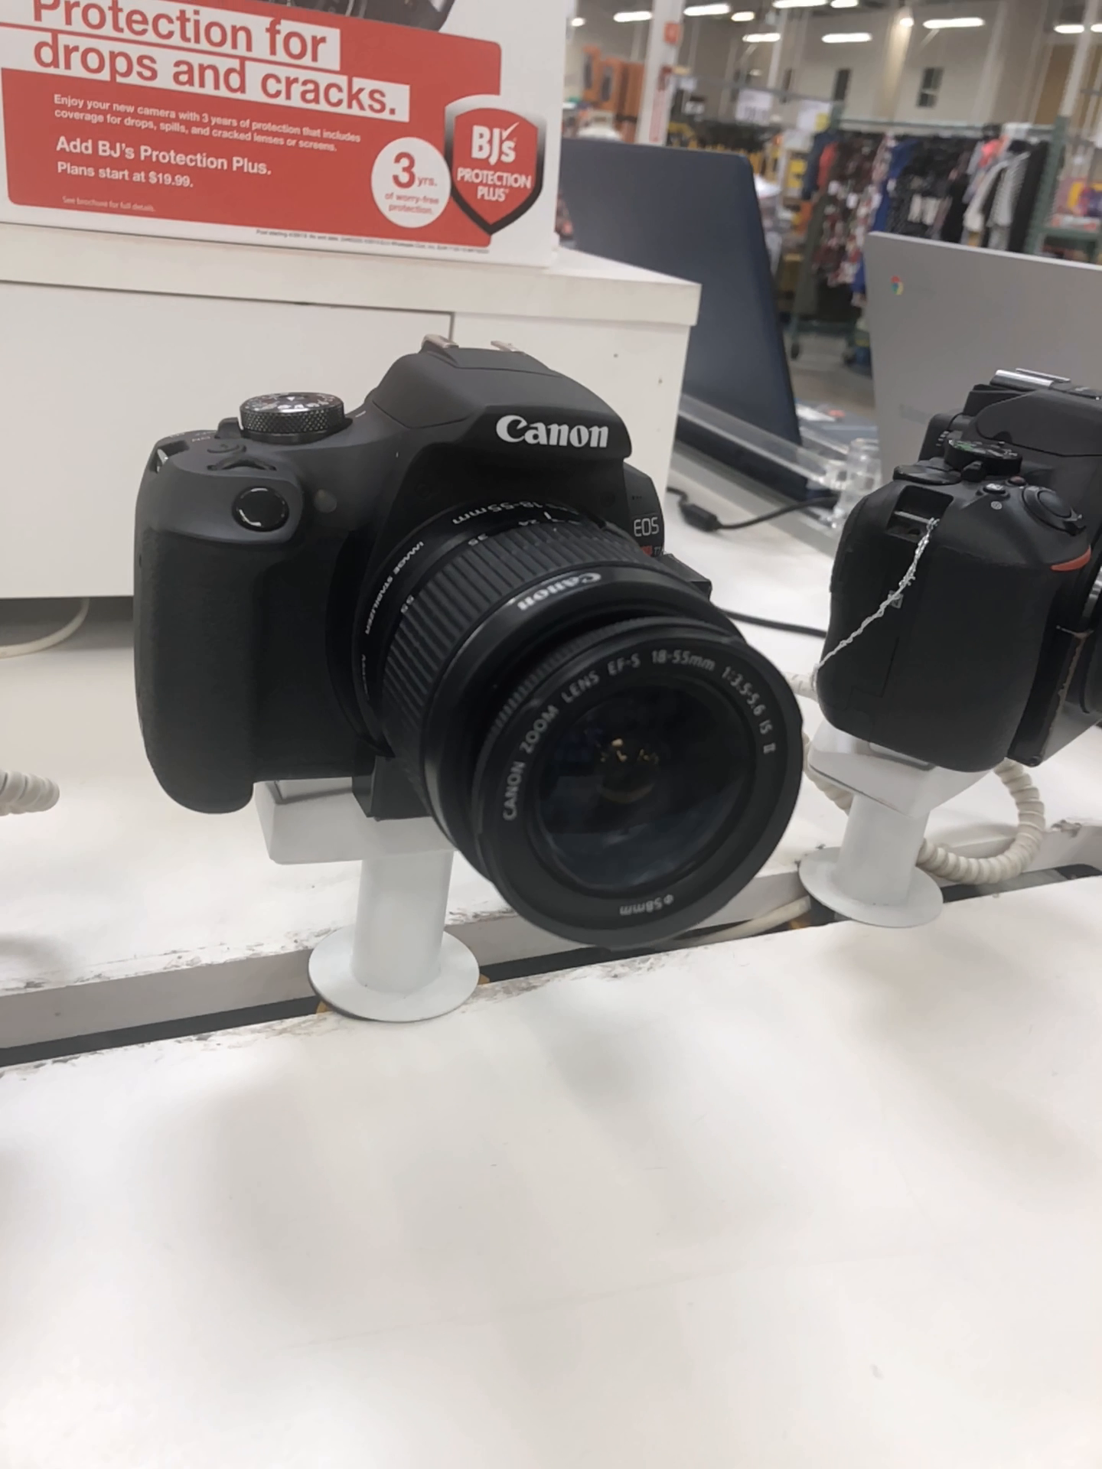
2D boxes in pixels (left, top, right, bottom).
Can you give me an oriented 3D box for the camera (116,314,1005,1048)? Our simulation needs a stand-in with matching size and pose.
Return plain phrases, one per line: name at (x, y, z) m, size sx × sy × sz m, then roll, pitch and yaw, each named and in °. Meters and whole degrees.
camera at (-0.012, -0.026, 0.257) m, size 0.130 × 0.092 × 0.132 m, roll -6°, pitch 28°, yaw -26°
